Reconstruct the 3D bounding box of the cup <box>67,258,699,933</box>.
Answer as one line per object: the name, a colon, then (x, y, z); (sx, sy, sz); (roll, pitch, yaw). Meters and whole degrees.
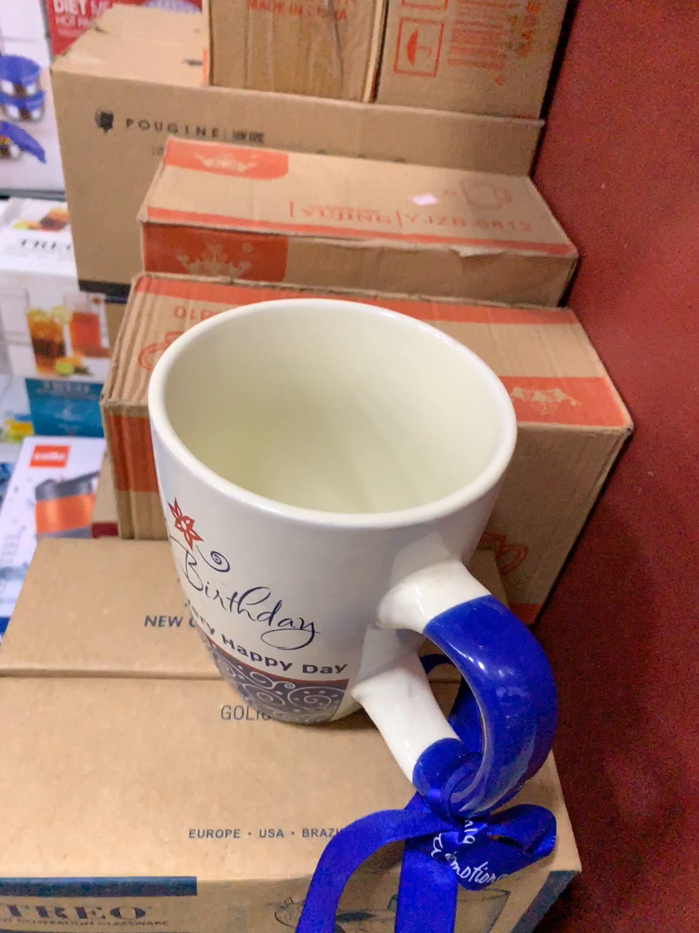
cup: (-0.004, 0.020, 0.196); (0.092, 0.086, 0.132); (-18, 47, -27)
